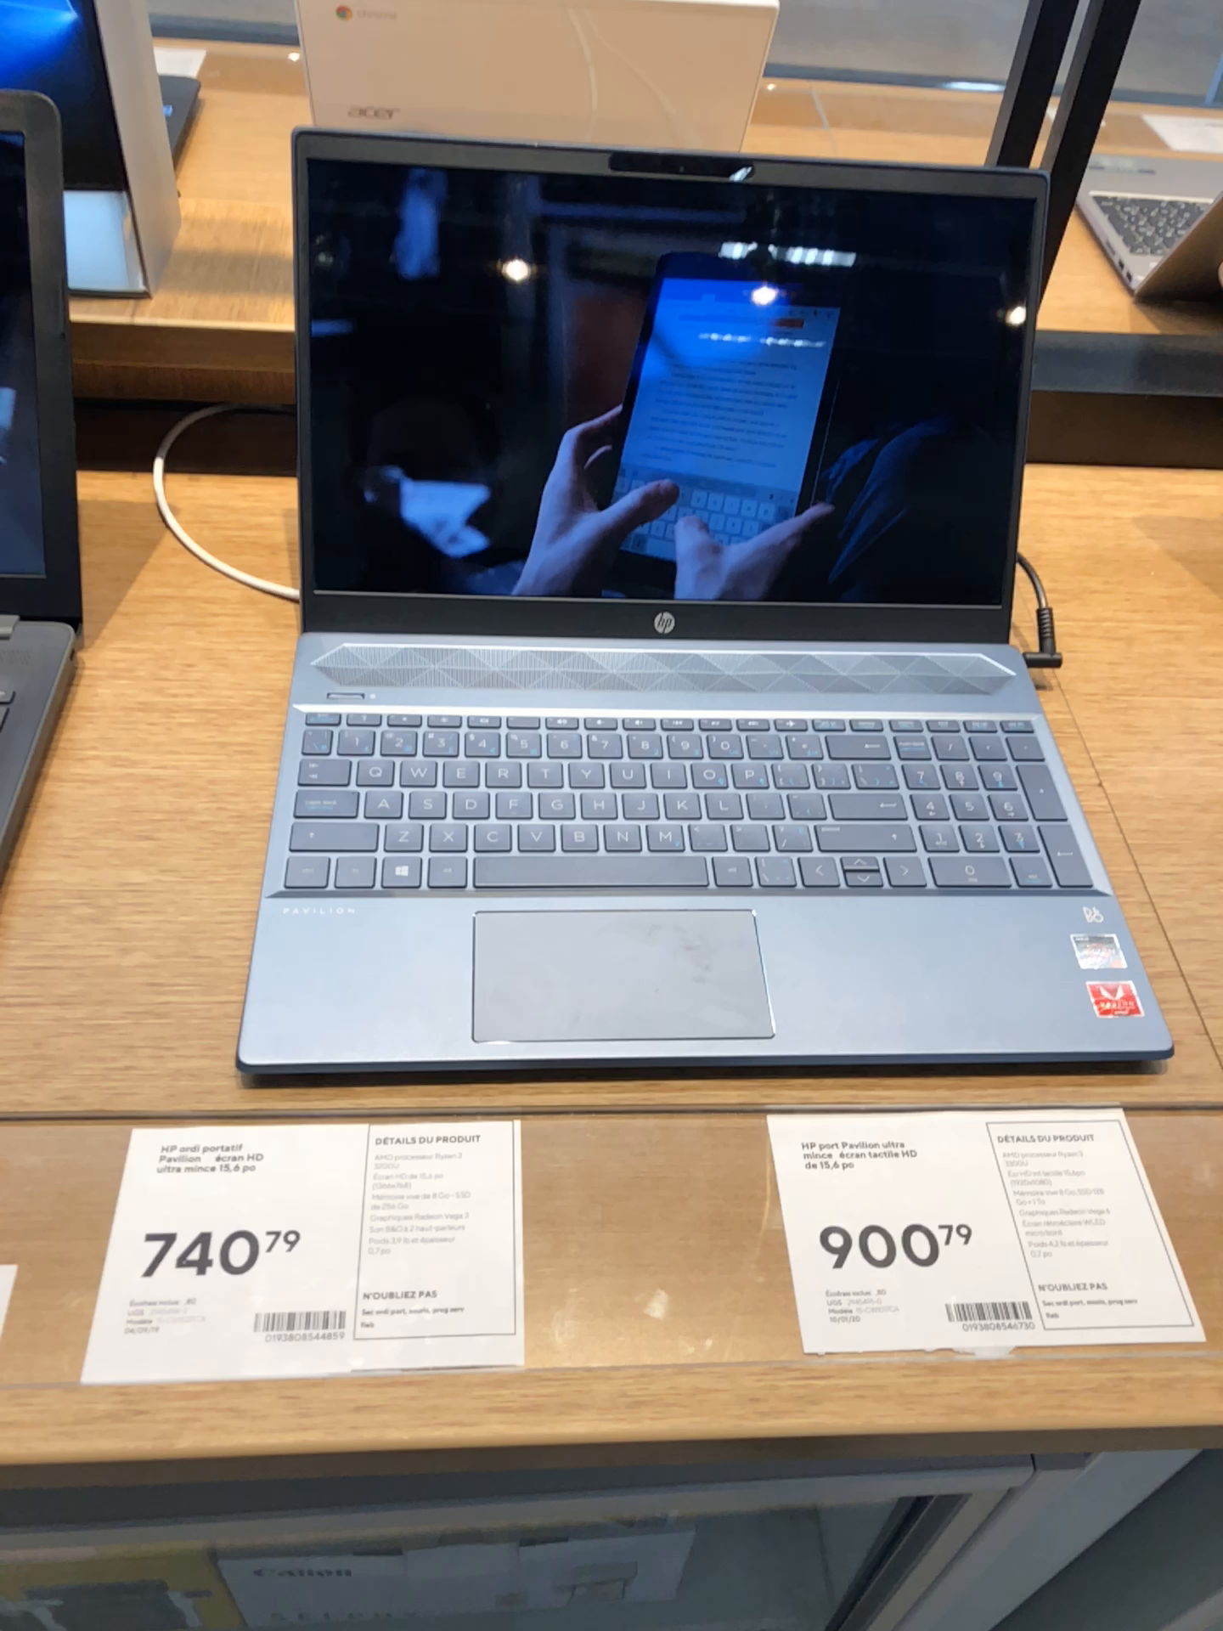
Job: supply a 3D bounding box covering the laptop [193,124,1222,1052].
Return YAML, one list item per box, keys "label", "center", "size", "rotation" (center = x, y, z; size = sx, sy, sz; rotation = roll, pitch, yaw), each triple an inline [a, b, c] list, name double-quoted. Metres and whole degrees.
- label: "laptop"
  center: [0.041, -0.107, 0.550]
  size: [0.338, 0.185, 0.357]
  rotation: [1, 46, -7]
